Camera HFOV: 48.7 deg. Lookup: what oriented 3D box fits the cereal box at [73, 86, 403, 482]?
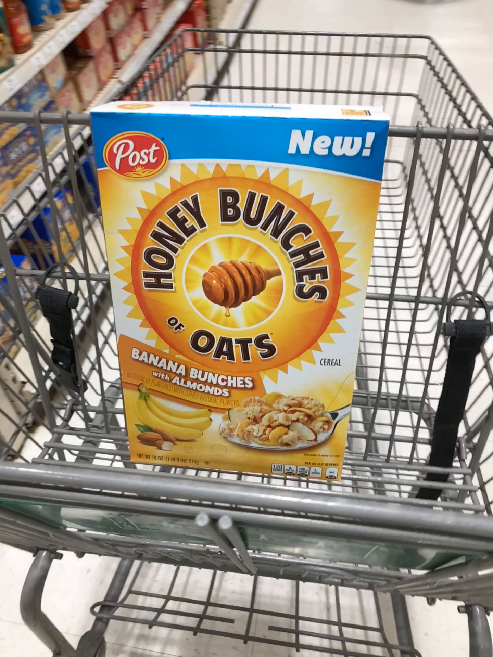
[{"bbox_3d":[-0.008,-0.020,0.427,0.200,0.300,0.060,4,30,5],"label":"cereal box"}]
